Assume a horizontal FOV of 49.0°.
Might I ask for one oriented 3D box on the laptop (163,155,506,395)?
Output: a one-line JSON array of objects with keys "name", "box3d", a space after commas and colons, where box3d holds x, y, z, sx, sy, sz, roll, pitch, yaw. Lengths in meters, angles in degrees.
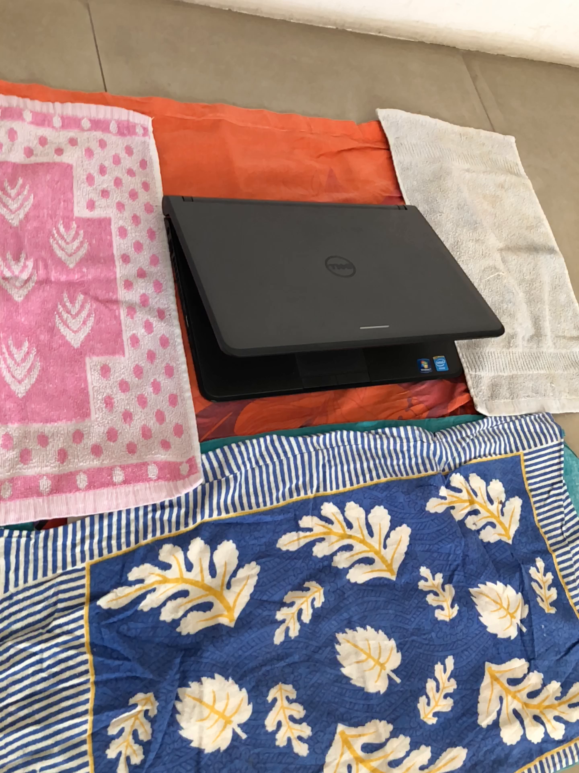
[{"name": "laptop", "box3d": [0.047, -0.124, 0.683, 0.315, 0.078, 0.227, -6, 67, -26]}]
